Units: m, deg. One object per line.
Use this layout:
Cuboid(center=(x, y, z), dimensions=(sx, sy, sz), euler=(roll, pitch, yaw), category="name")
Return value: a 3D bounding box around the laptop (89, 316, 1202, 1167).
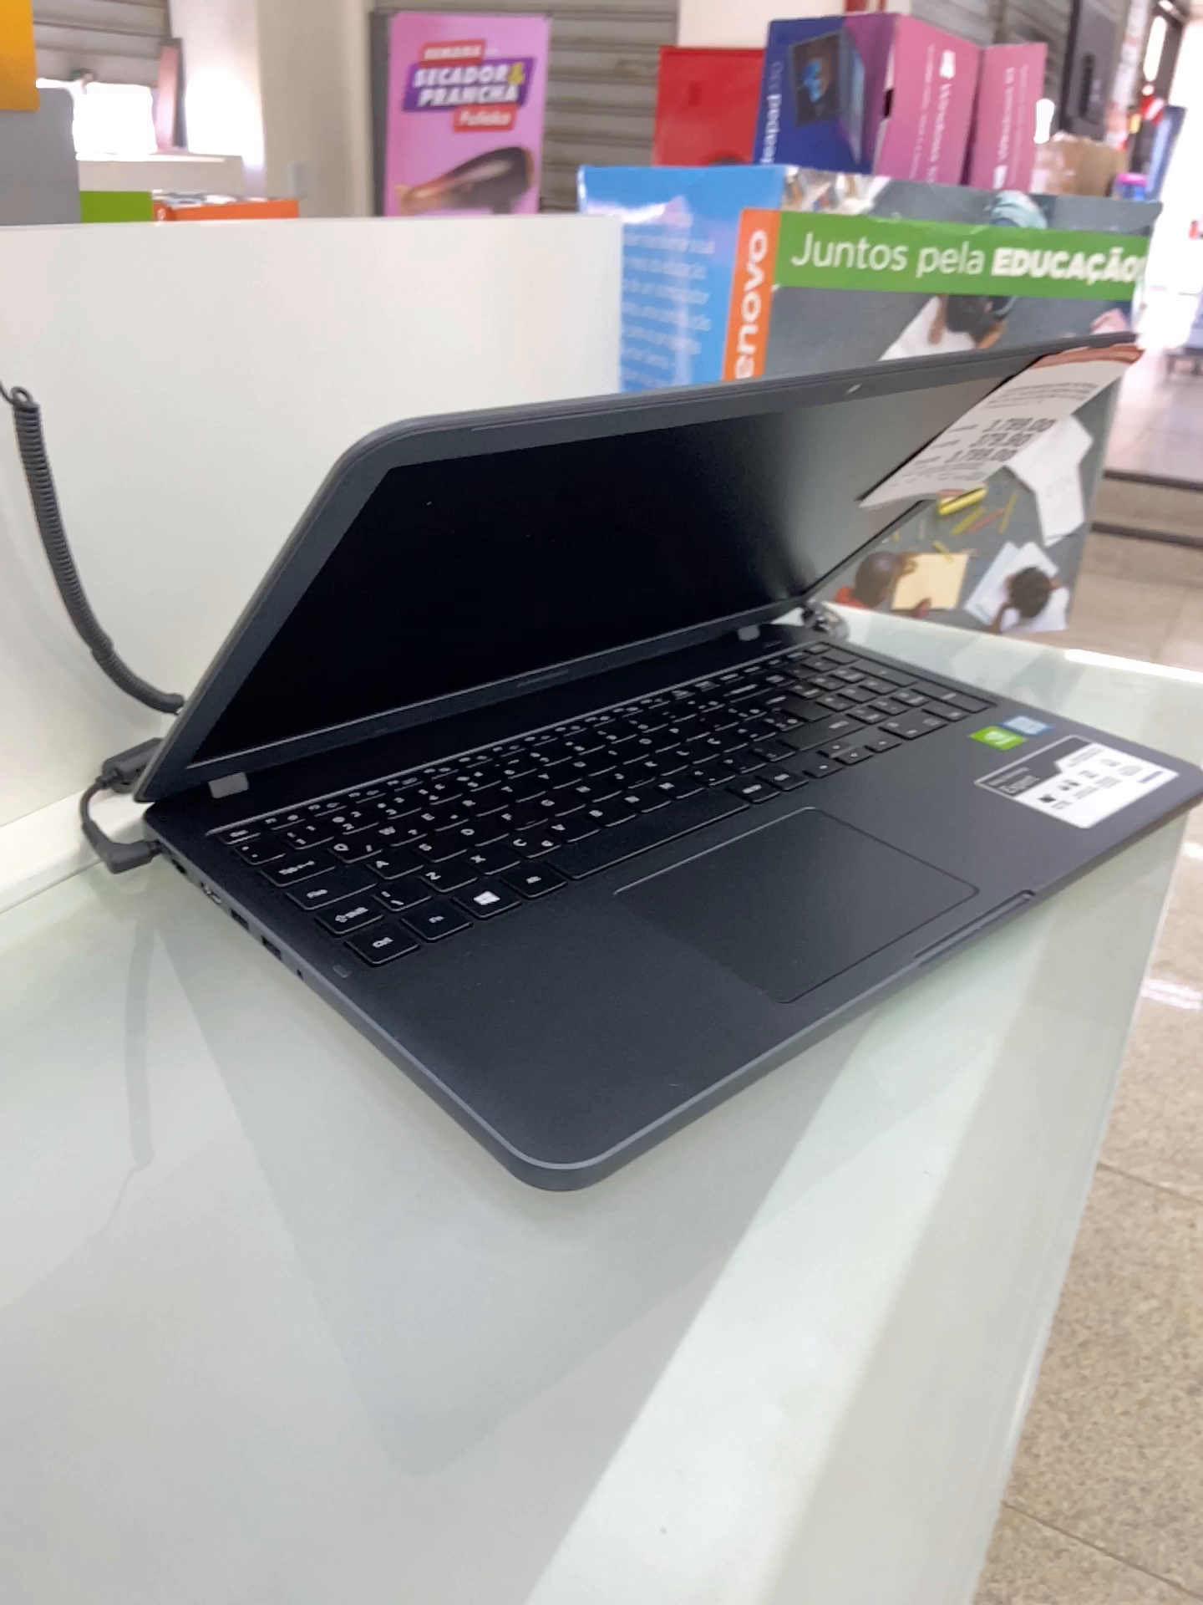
Cuboid(center=(0.046, -0.075, 0.454), dimensions=(0.358, 0.158, 0.231), euler=(-20, 35, -38), category="laptop")
